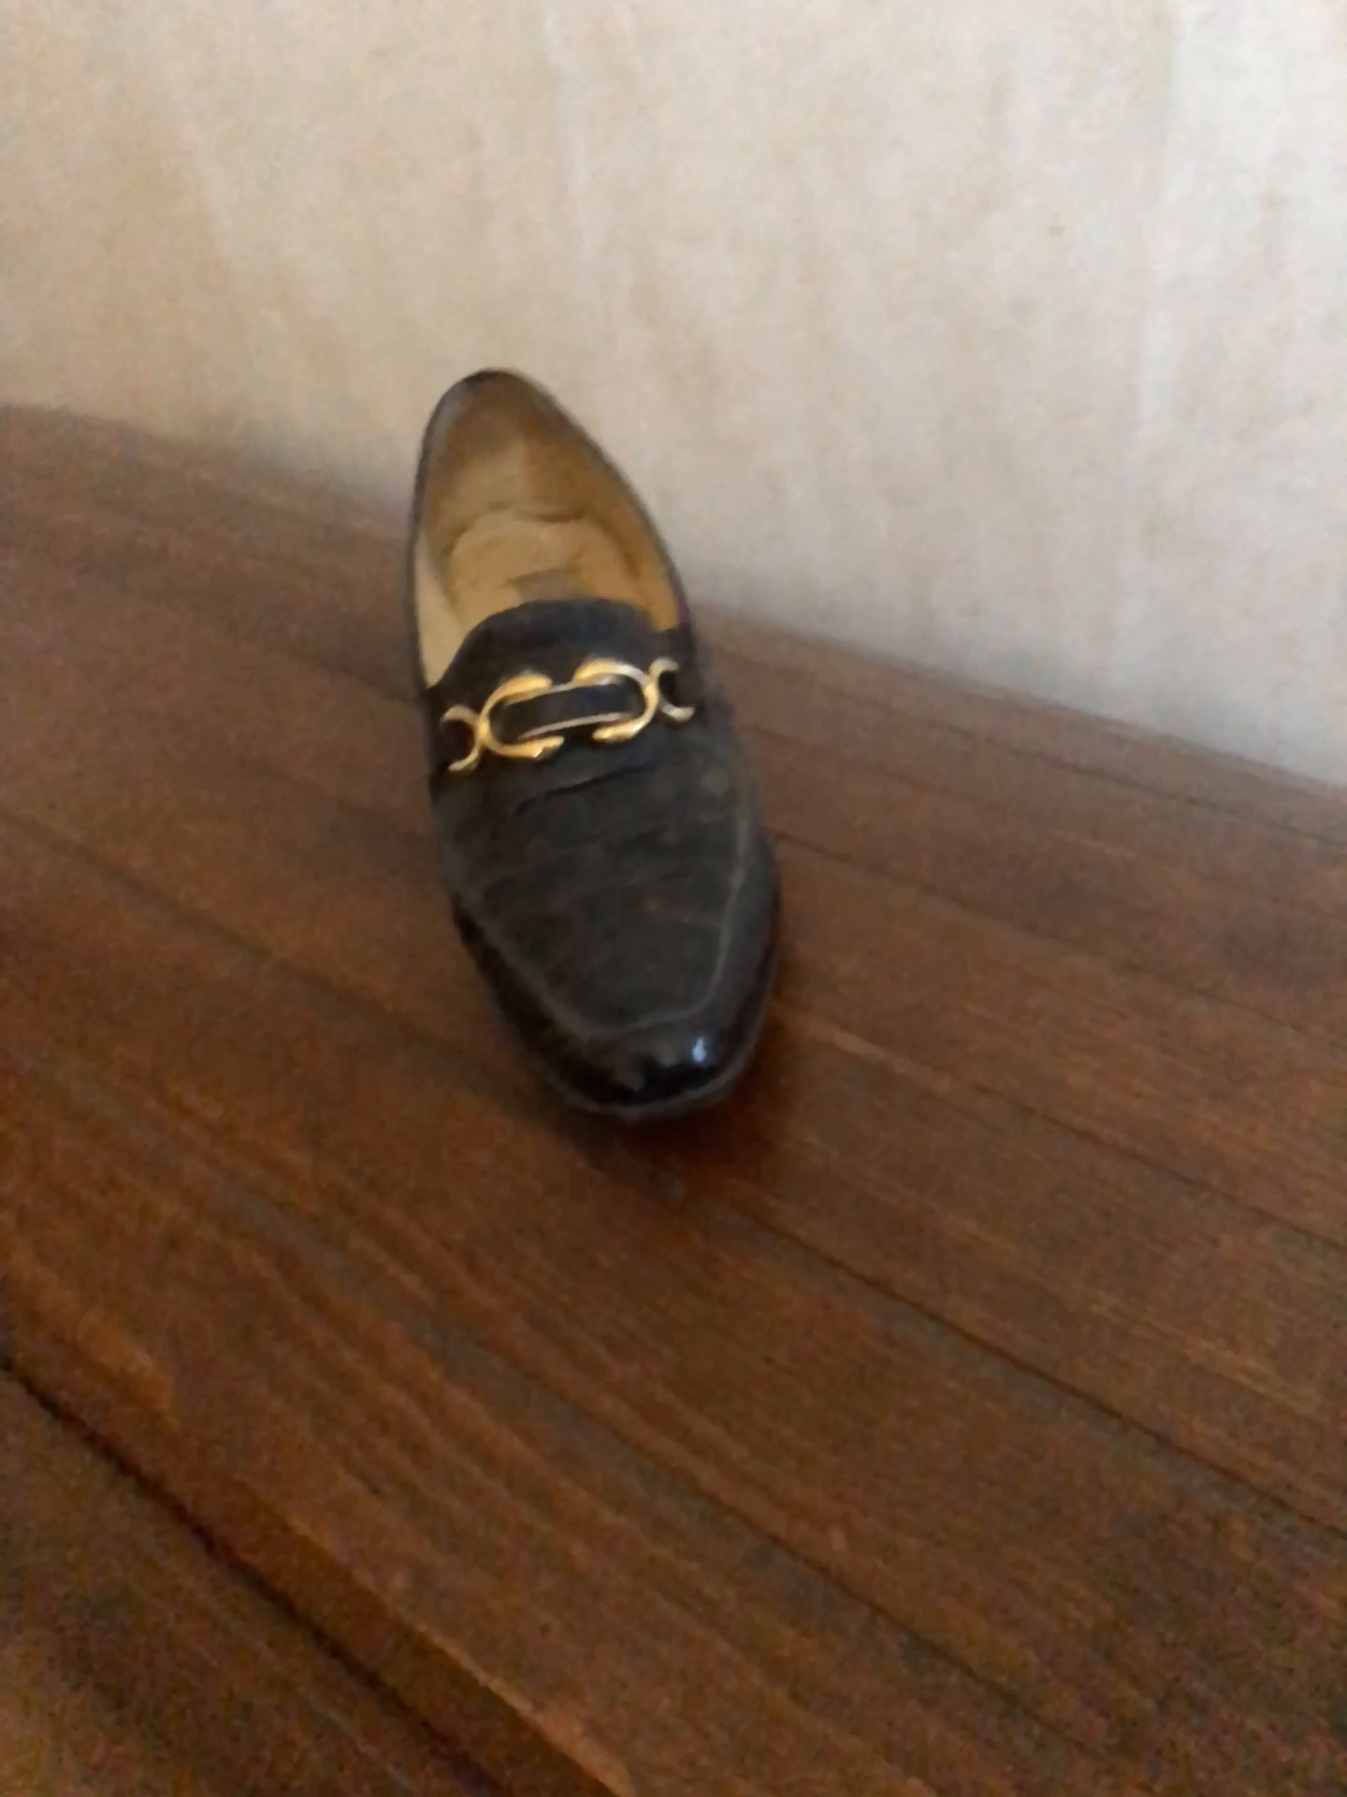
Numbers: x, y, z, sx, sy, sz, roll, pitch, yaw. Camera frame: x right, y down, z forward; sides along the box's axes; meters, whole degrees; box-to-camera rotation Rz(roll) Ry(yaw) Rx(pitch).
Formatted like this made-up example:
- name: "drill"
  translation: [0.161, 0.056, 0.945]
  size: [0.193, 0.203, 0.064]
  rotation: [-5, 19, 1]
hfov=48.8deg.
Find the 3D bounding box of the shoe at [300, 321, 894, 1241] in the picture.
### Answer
- name: "shoe"
  translation: [-0.030, -0.050, 0.380]
  size: [0.090, 0.099, 0.241]
  rotation: [-14, 41, -7]
